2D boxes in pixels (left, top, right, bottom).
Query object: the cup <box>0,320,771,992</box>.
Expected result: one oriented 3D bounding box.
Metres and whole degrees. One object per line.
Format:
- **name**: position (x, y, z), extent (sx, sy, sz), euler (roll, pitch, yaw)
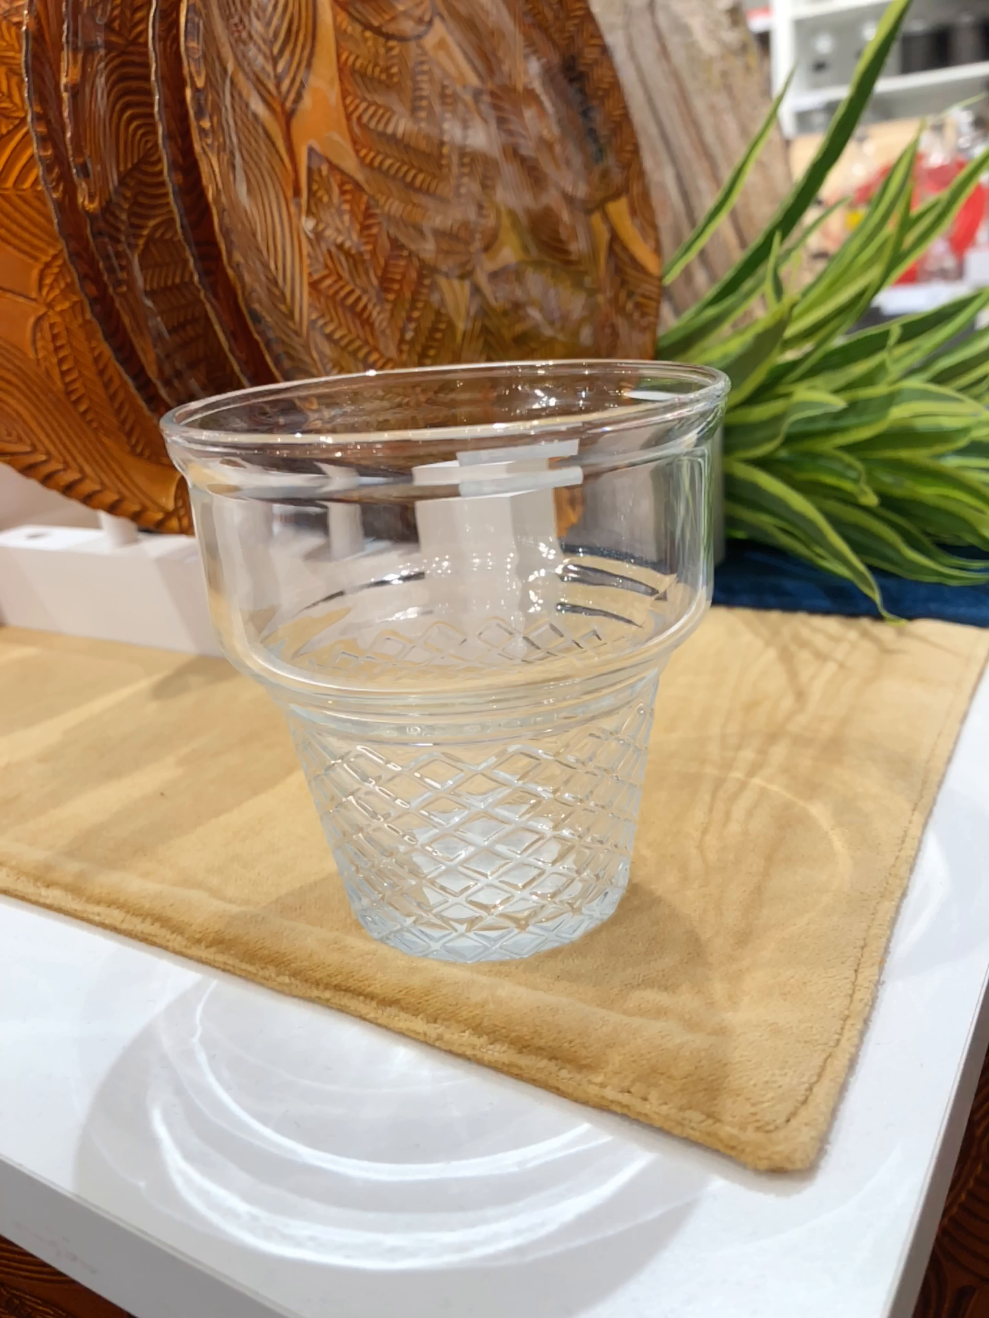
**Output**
- **cup**: position (-0.007, -0.007, 0.161), extent (0.080, 0.070, 0.080), euler (-5, 18, 2)
